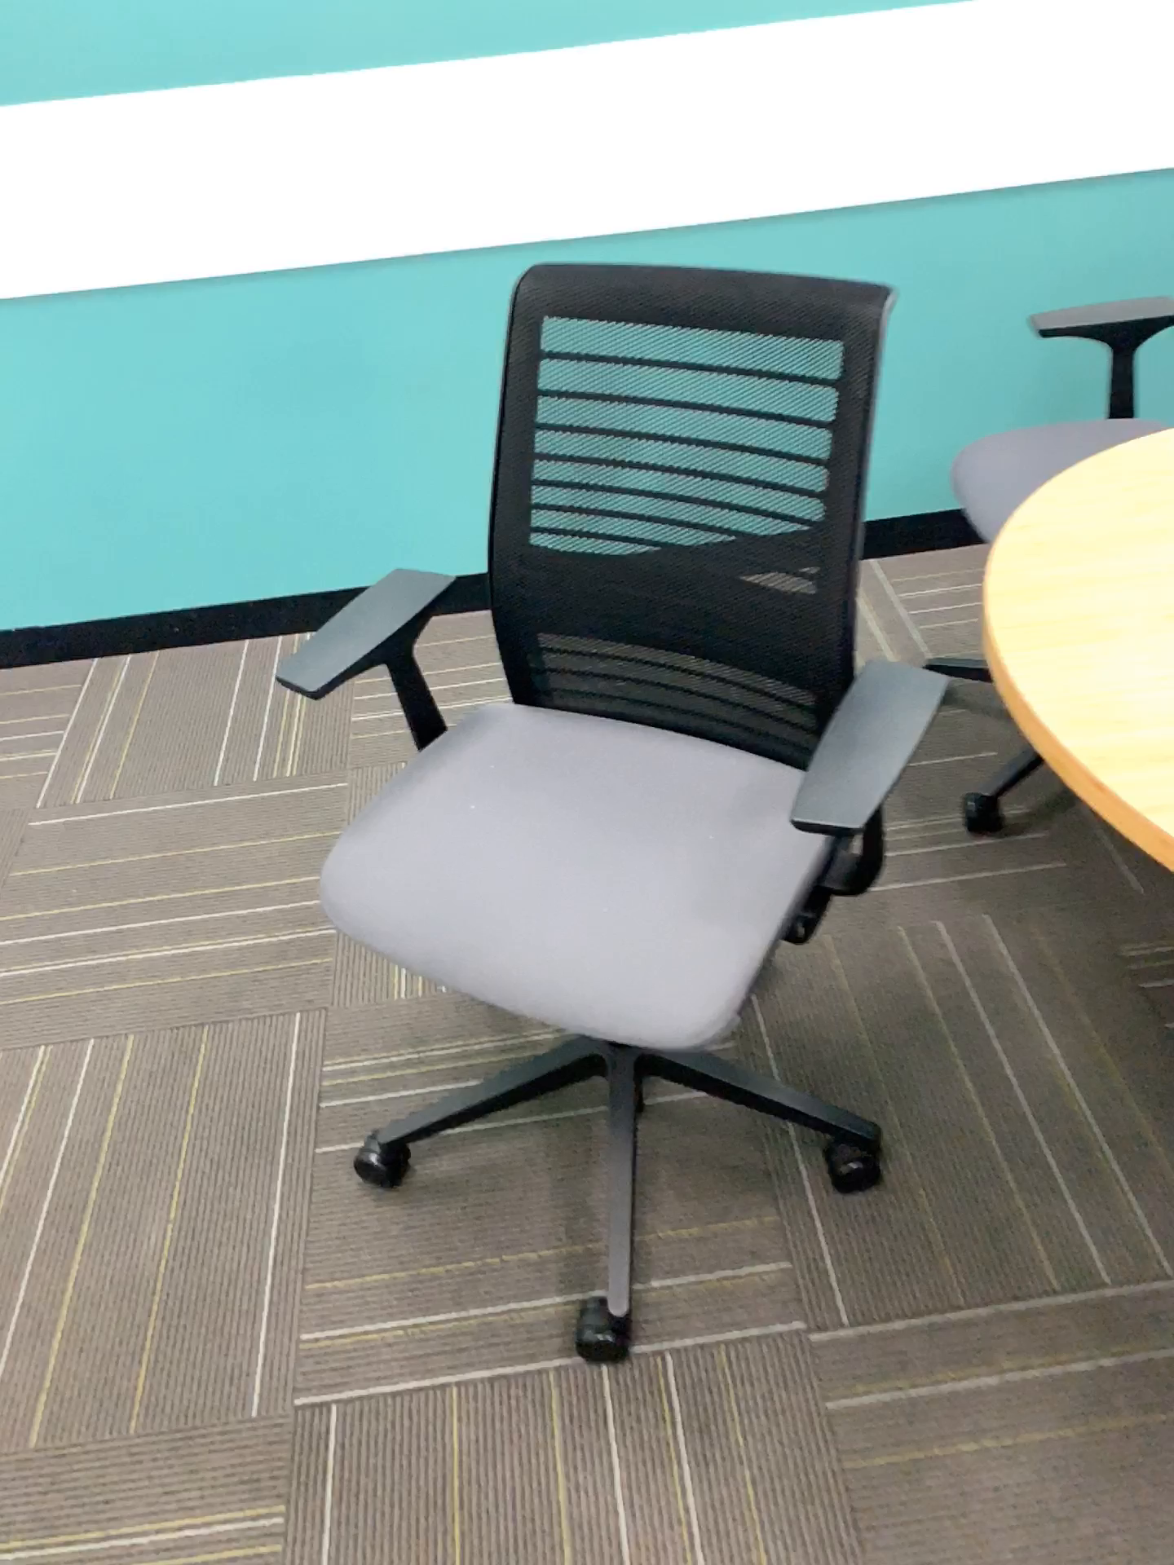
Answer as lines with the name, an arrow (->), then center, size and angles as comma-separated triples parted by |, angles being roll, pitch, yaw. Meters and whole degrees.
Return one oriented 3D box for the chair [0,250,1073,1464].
chair -> 0.051, 0.028, 1.400 | 0.731, 0.984, 0.844 | 12, 42, 21
